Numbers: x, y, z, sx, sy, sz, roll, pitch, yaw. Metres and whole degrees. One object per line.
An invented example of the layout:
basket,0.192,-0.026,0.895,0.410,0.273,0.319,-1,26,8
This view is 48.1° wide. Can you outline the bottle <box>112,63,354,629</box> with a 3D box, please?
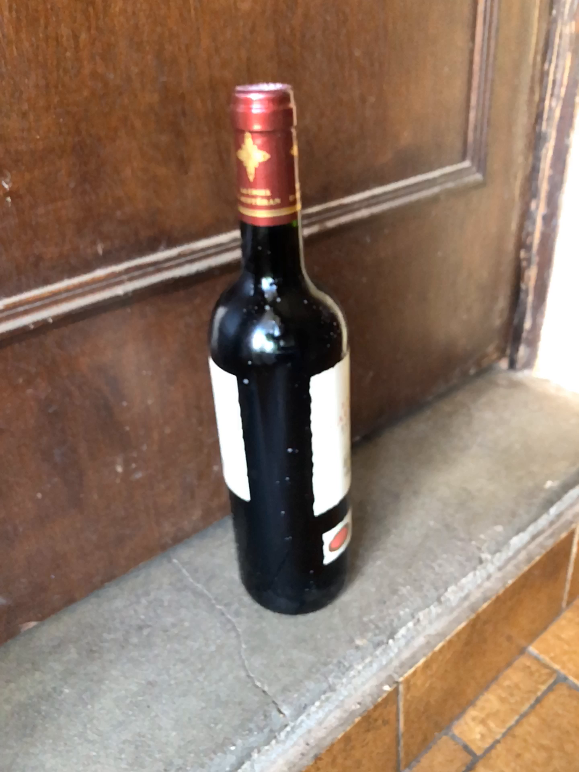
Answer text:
bottle,-0.011,-0.006,0.334,0.080,0.278,0.081,-3,30,2
